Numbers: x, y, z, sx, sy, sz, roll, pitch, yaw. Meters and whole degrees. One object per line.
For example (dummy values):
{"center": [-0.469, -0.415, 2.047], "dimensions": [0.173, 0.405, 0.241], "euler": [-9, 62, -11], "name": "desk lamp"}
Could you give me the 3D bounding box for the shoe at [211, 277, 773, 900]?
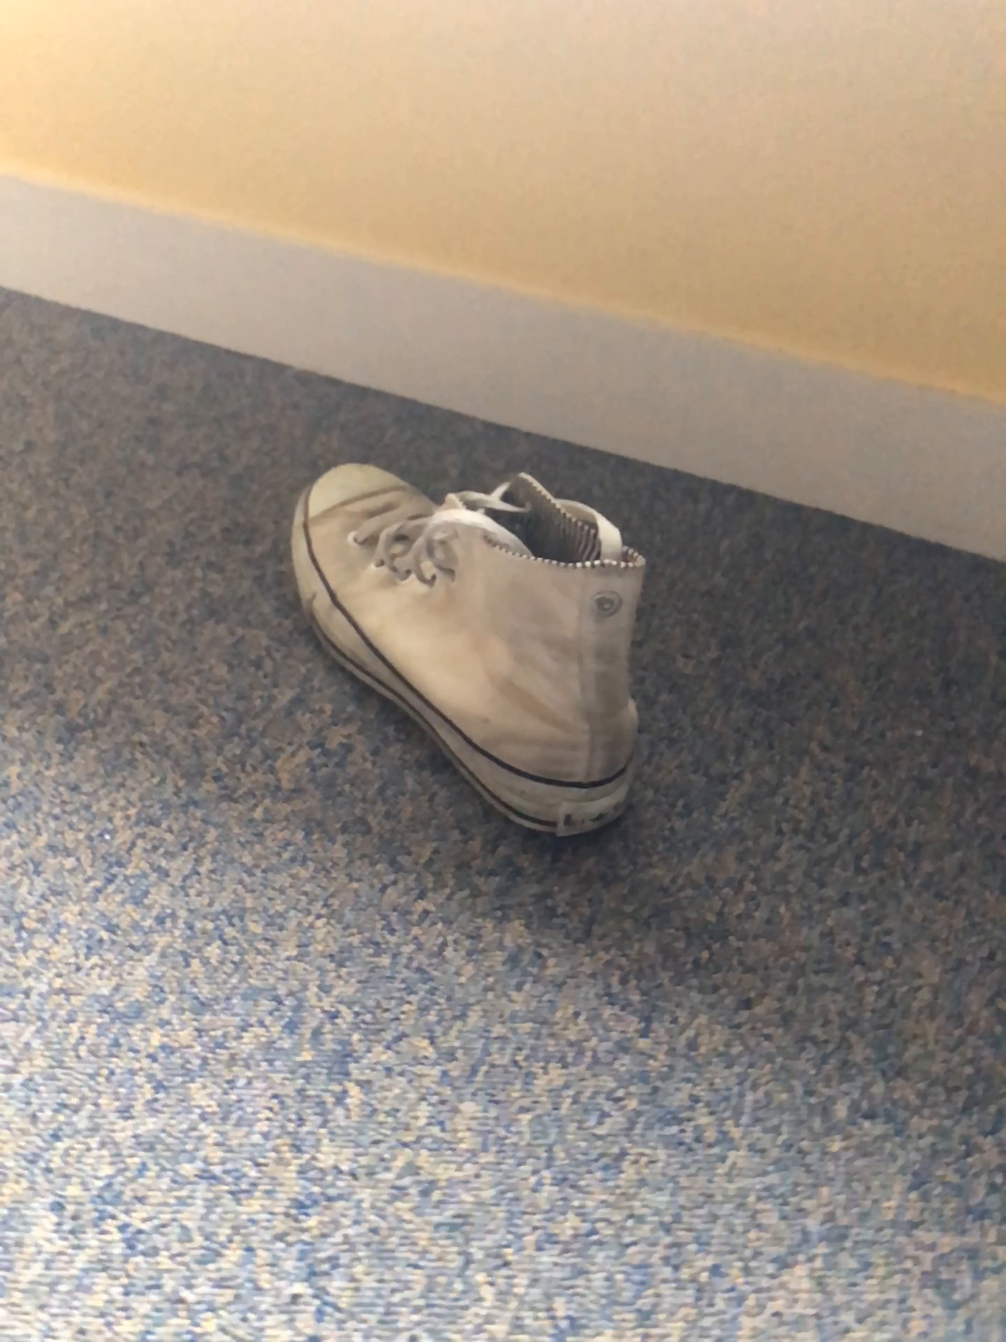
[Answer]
{"center": [-0.021, -0.051, 0.488], "dimensions": [0.100, 0.139, 0.251], "euler": [-23, 48, -27], "name": "shoe"}
